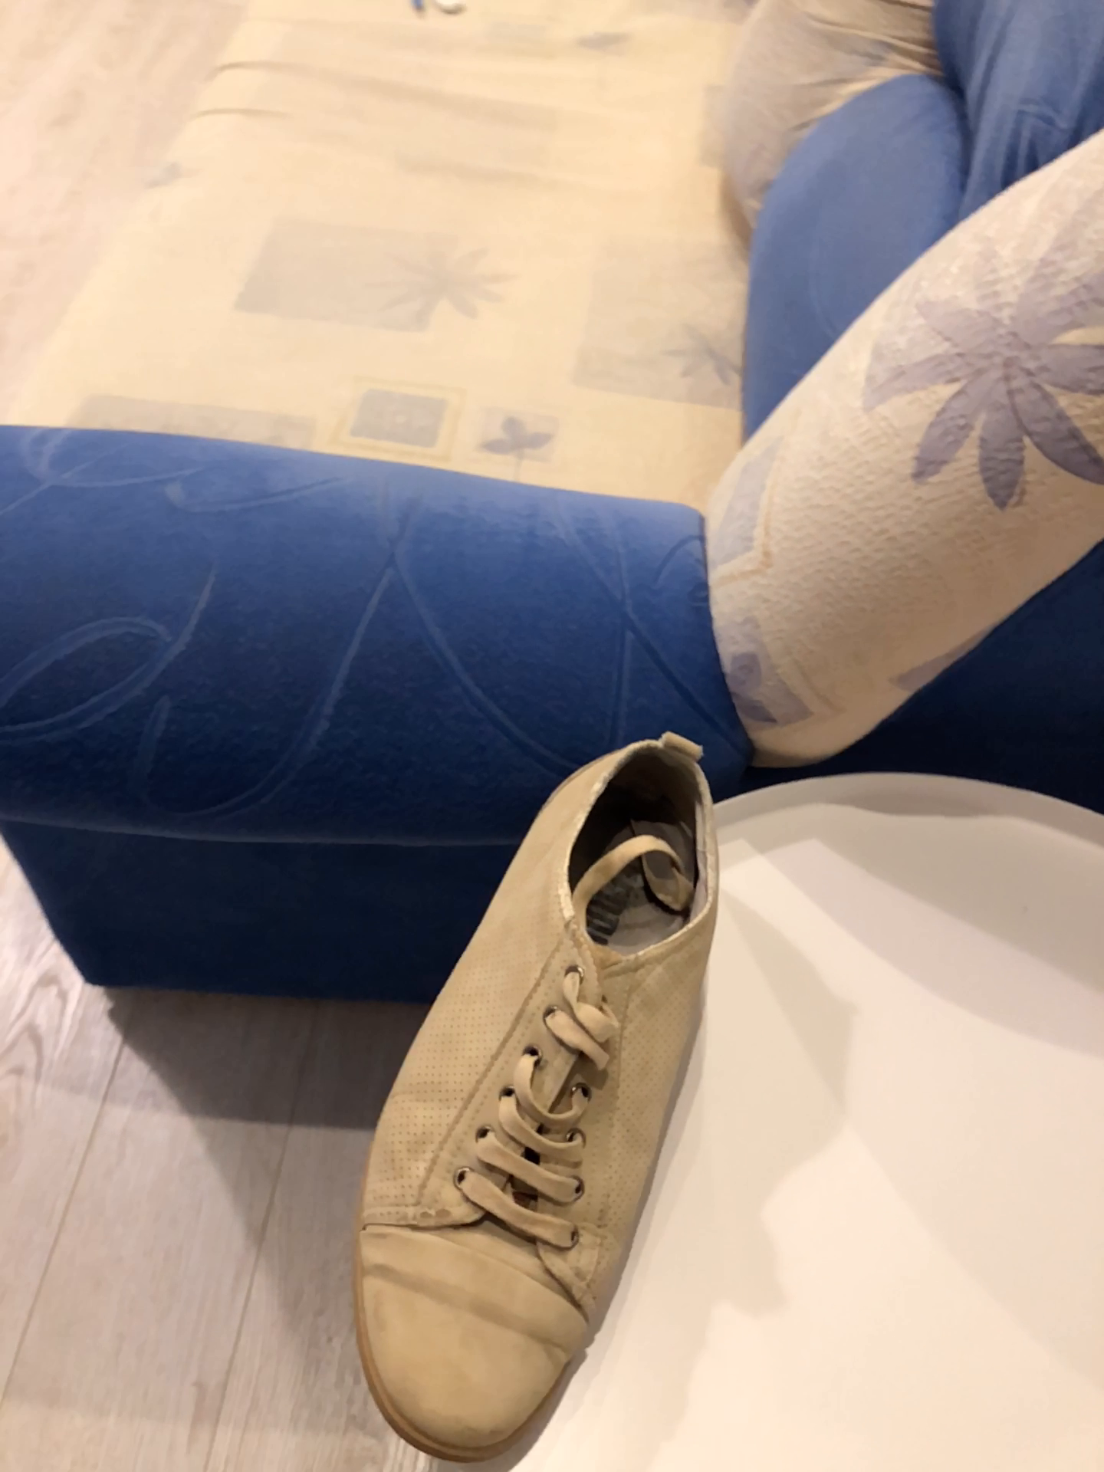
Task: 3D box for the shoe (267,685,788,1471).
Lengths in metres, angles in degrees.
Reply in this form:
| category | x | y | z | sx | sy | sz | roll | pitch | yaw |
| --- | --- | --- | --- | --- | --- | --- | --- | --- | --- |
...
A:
| category | x | y | z | sx | sy | sz | roll | pitch | yaw |
| --- | --- | --- | --- | --- | --- | --- | --- | --- | --- |
| shoe | 0.003 | 0.124 | 0.477 | 0.110 | 0.070 | 0.282 | 17 | 57 | 5 |
